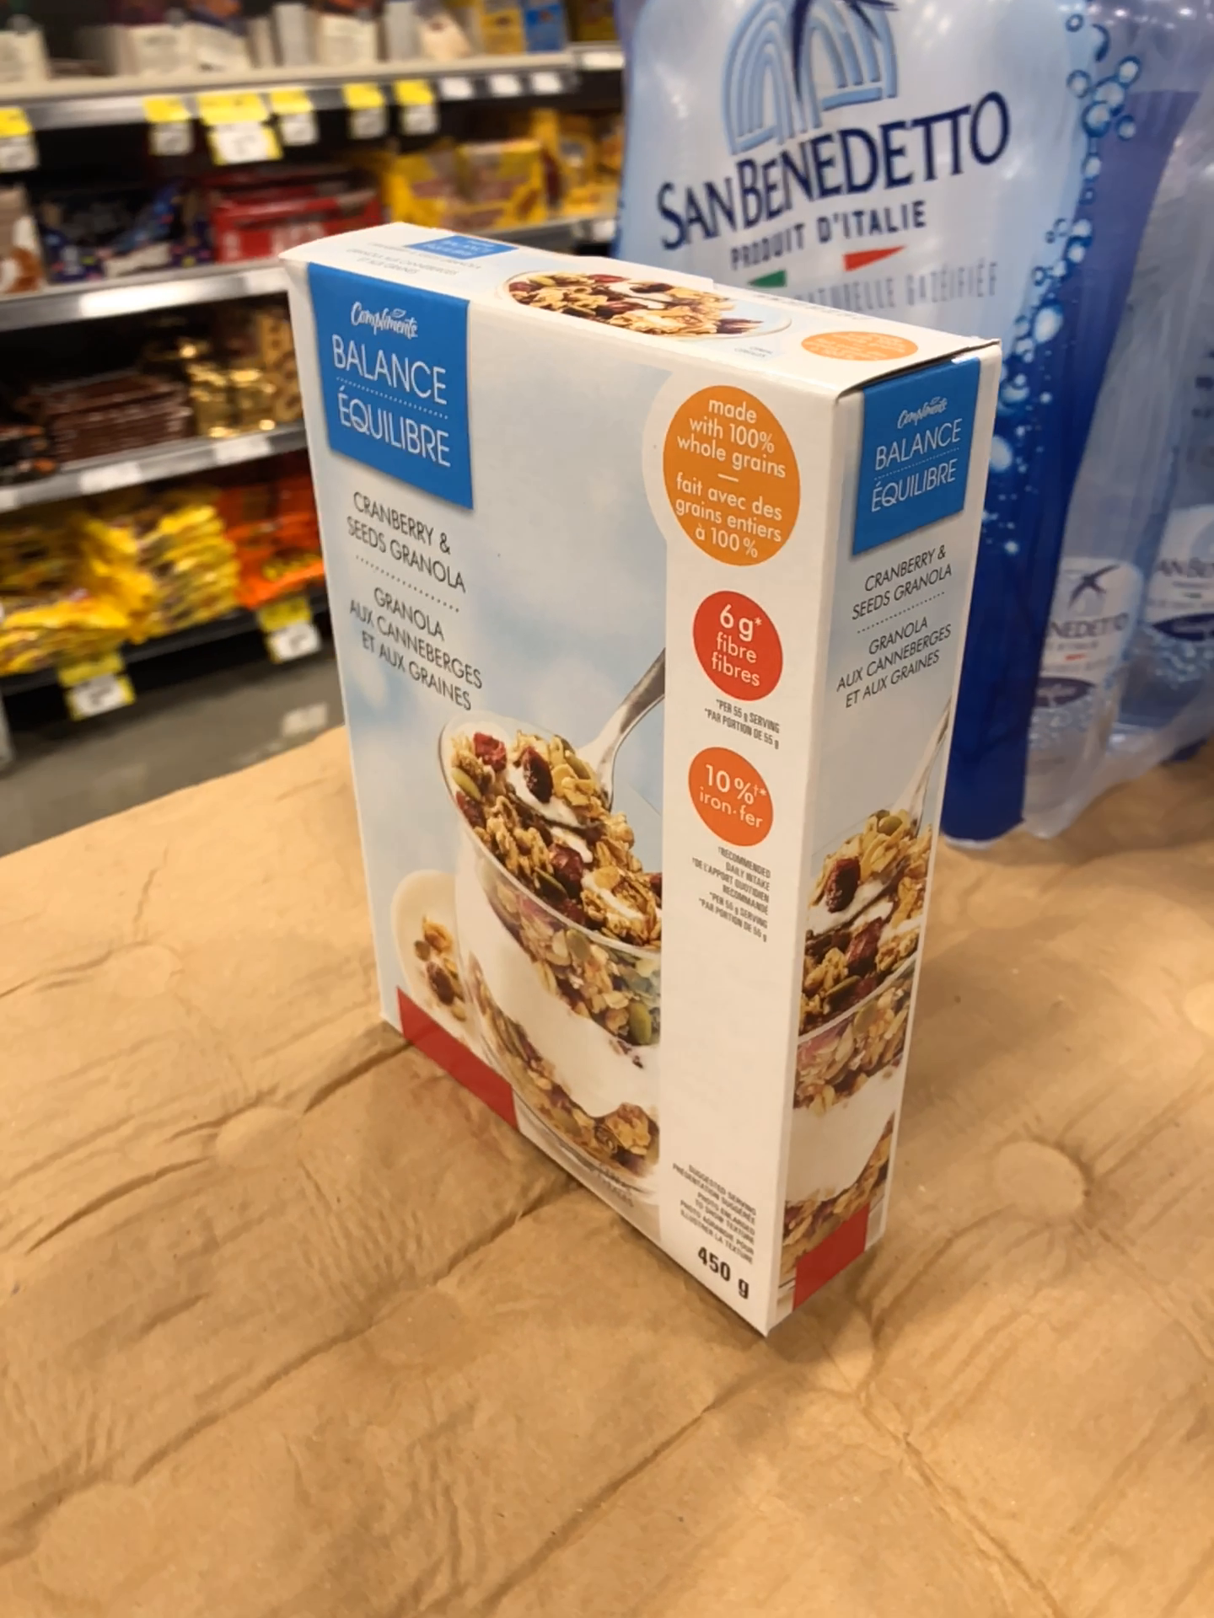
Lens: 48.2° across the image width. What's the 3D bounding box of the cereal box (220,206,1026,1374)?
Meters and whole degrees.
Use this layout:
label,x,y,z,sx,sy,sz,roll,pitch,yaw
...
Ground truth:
label,x,y,z,sx,sy,sz,roll,pitch,yaw
cereal box,-0.008,-0.010,0.327,0.050,0.229,0.180,-26,39,-35
